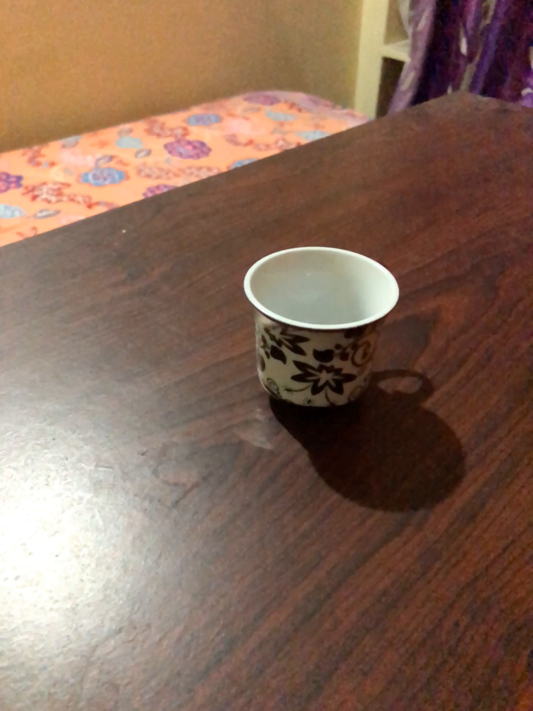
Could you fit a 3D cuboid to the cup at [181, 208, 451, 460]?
[{"bbox_3d":[0.022,-0.015,0.255,0.070,0.050,0.091,27,45,29],"label":"cup"}]
